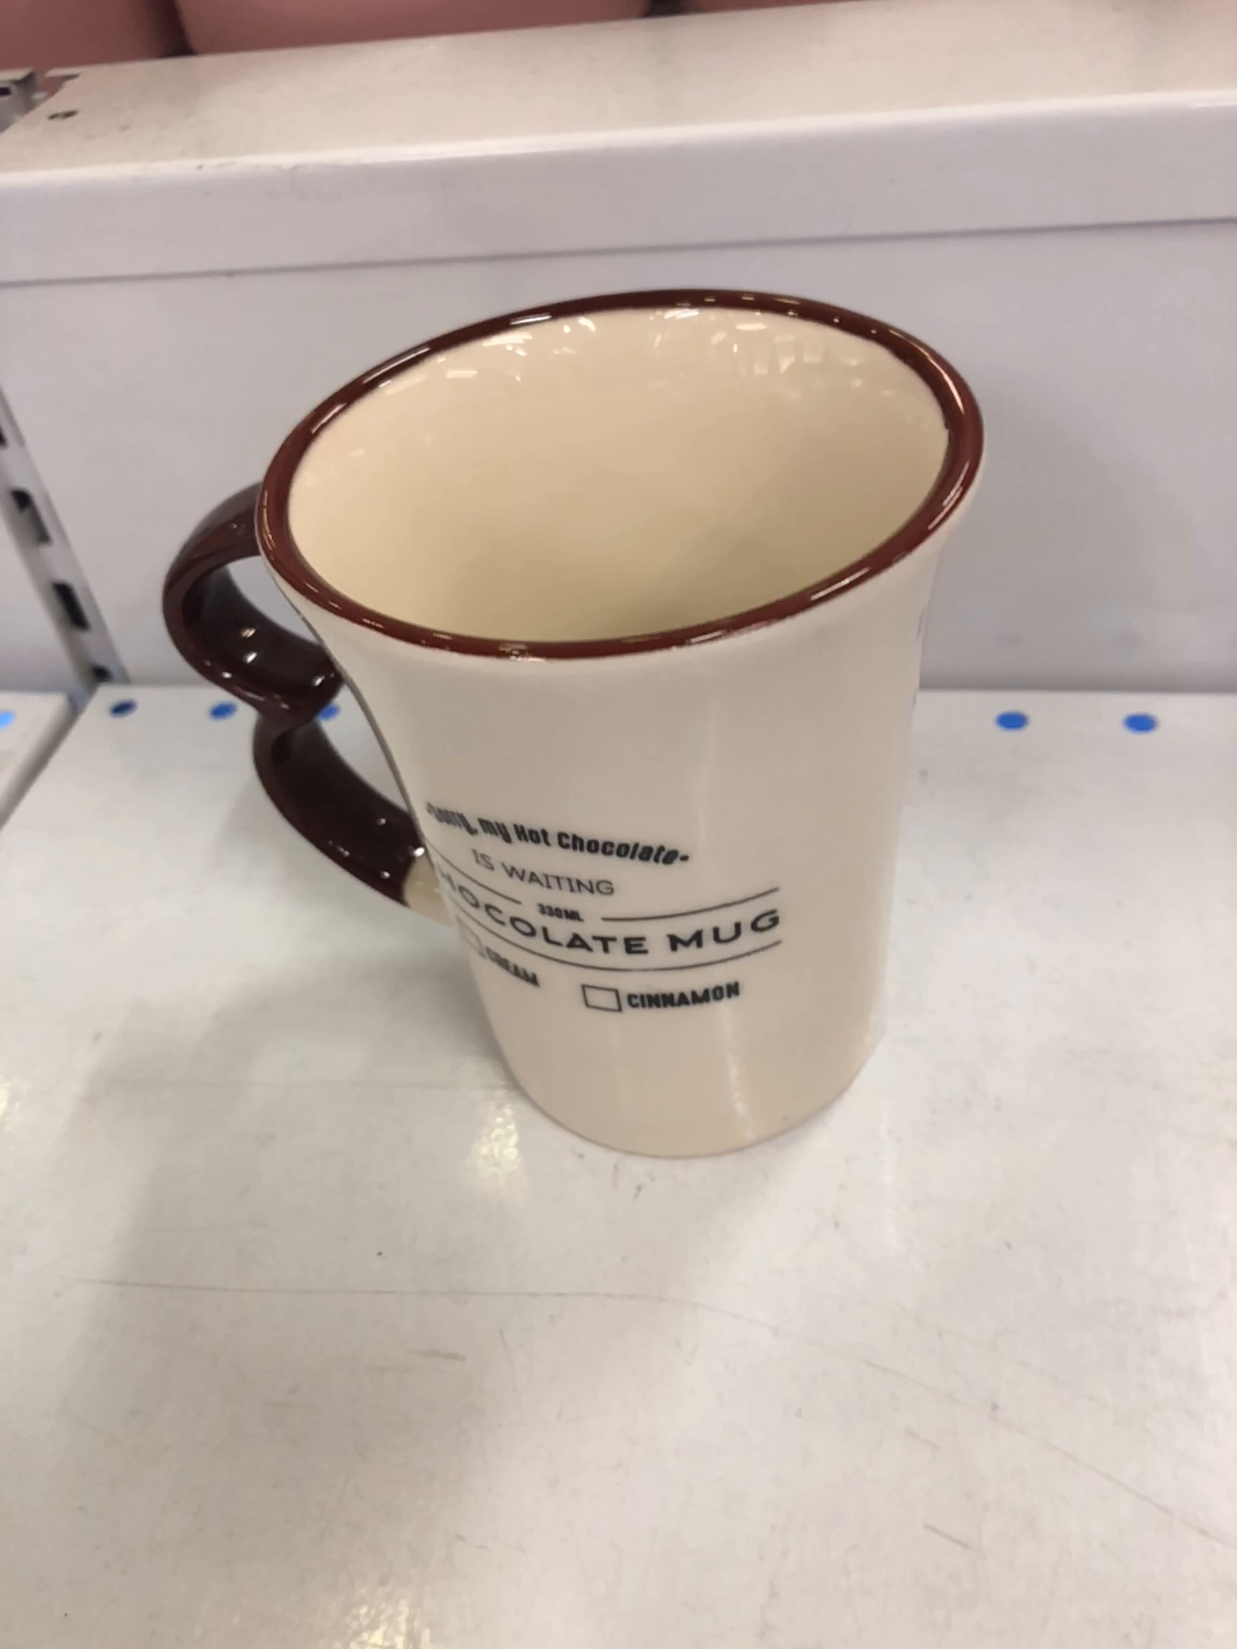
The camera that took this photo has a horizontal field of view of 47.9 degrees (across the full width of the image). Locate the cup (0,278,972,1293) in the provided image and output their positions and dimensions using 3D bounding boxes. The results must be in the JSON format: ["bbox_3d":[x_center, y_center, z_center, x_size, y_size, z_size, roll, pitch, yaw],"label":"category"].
[{"bbox_3d":[-0.014,-0.008,0.209,0.120,0.109,0.091,4,44,14],"label":"cup"}]
